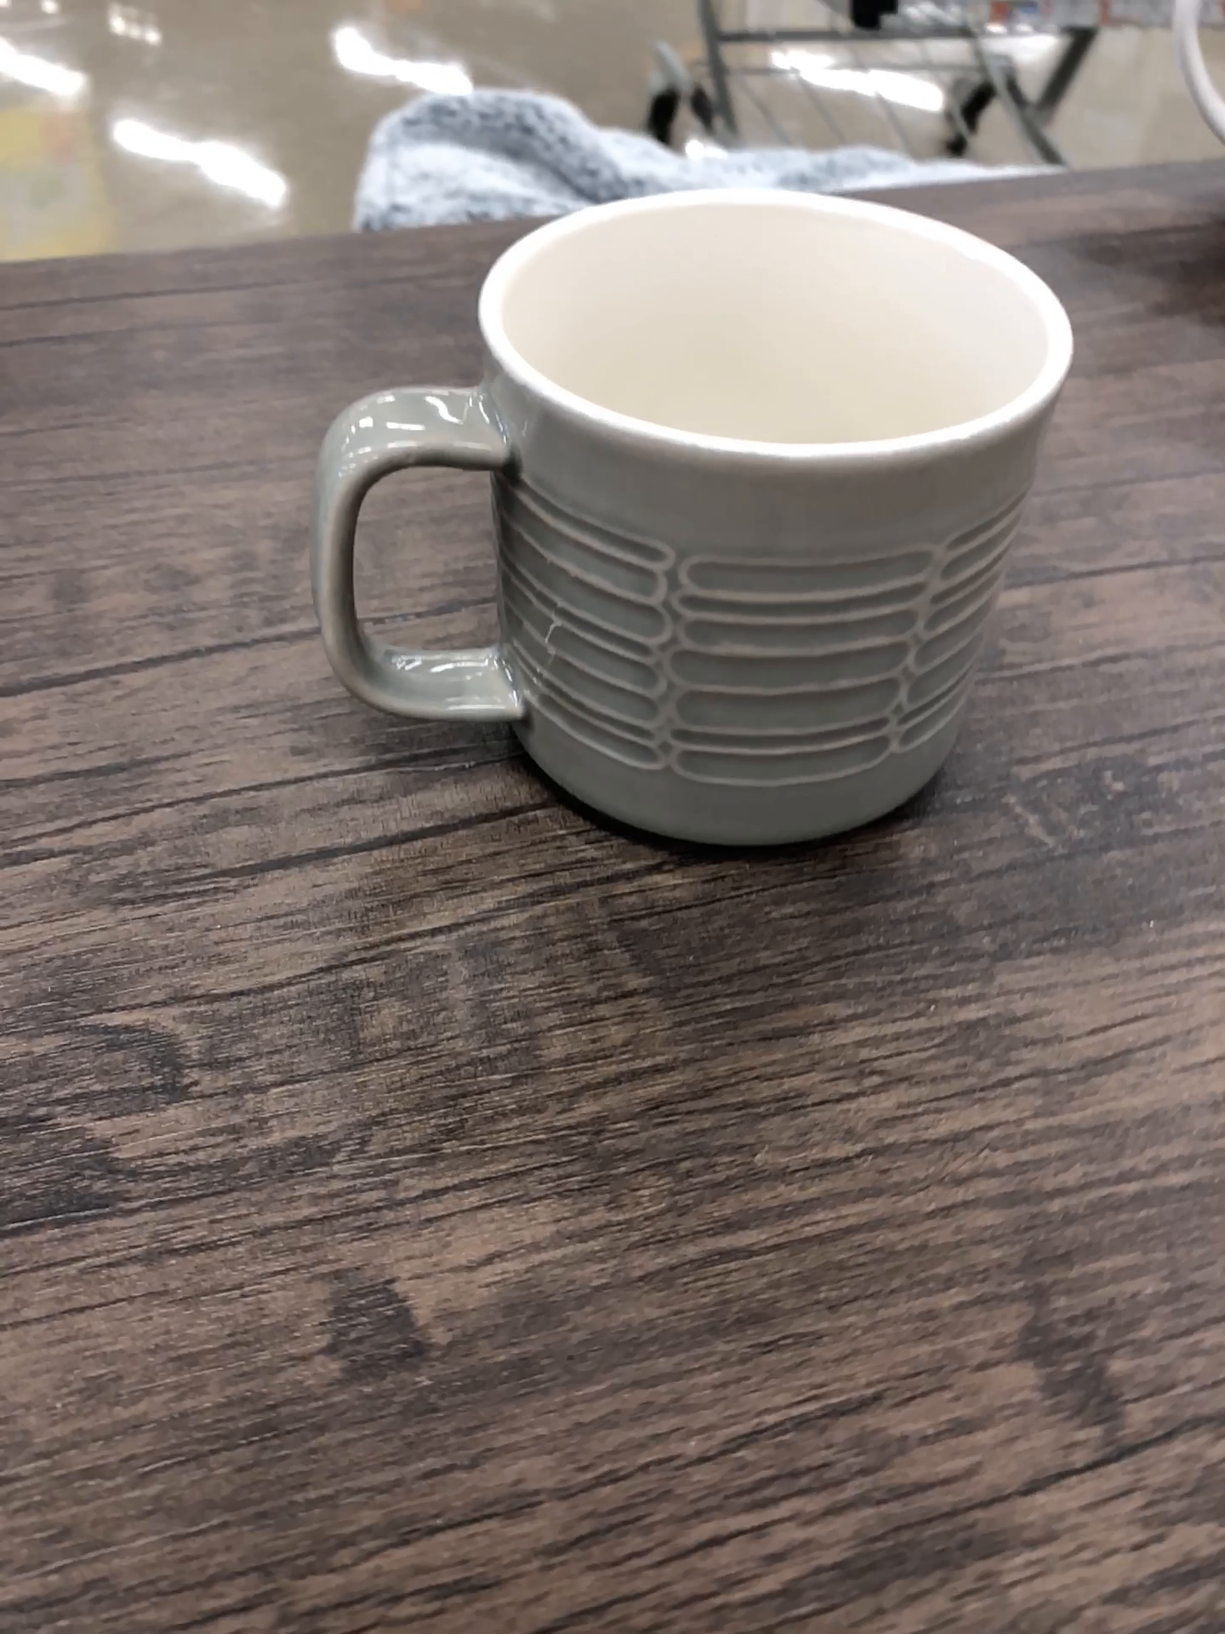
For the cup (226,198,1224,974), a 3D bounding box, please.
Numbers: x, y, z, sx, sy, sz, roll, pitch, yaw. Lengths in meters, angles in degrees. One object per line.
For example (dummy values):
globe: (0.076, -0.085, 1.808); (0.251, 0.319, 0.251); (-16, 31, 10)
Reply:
cup: (0.011, -0.046, 0.252); (0.140, 0.090, 0.100); (-5, 45, -7)
